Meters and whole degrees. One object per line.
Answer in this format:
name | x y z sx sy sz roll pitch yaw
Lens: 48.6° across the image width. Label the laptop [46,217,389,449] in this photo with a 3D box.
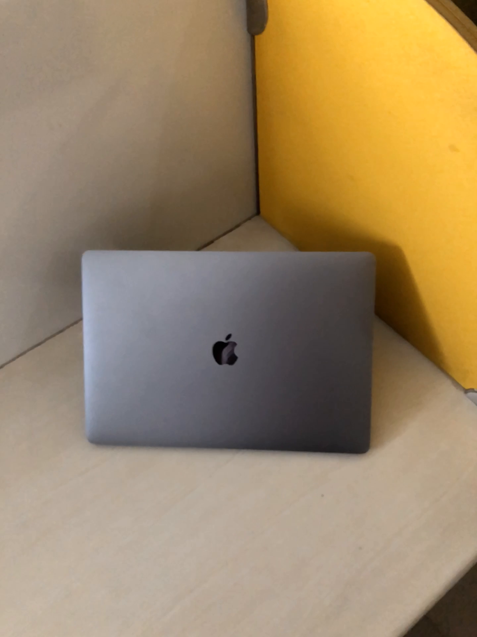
laptop | -0.013 0.015 0.656 0.344 0.152 0.236 1 56 4
